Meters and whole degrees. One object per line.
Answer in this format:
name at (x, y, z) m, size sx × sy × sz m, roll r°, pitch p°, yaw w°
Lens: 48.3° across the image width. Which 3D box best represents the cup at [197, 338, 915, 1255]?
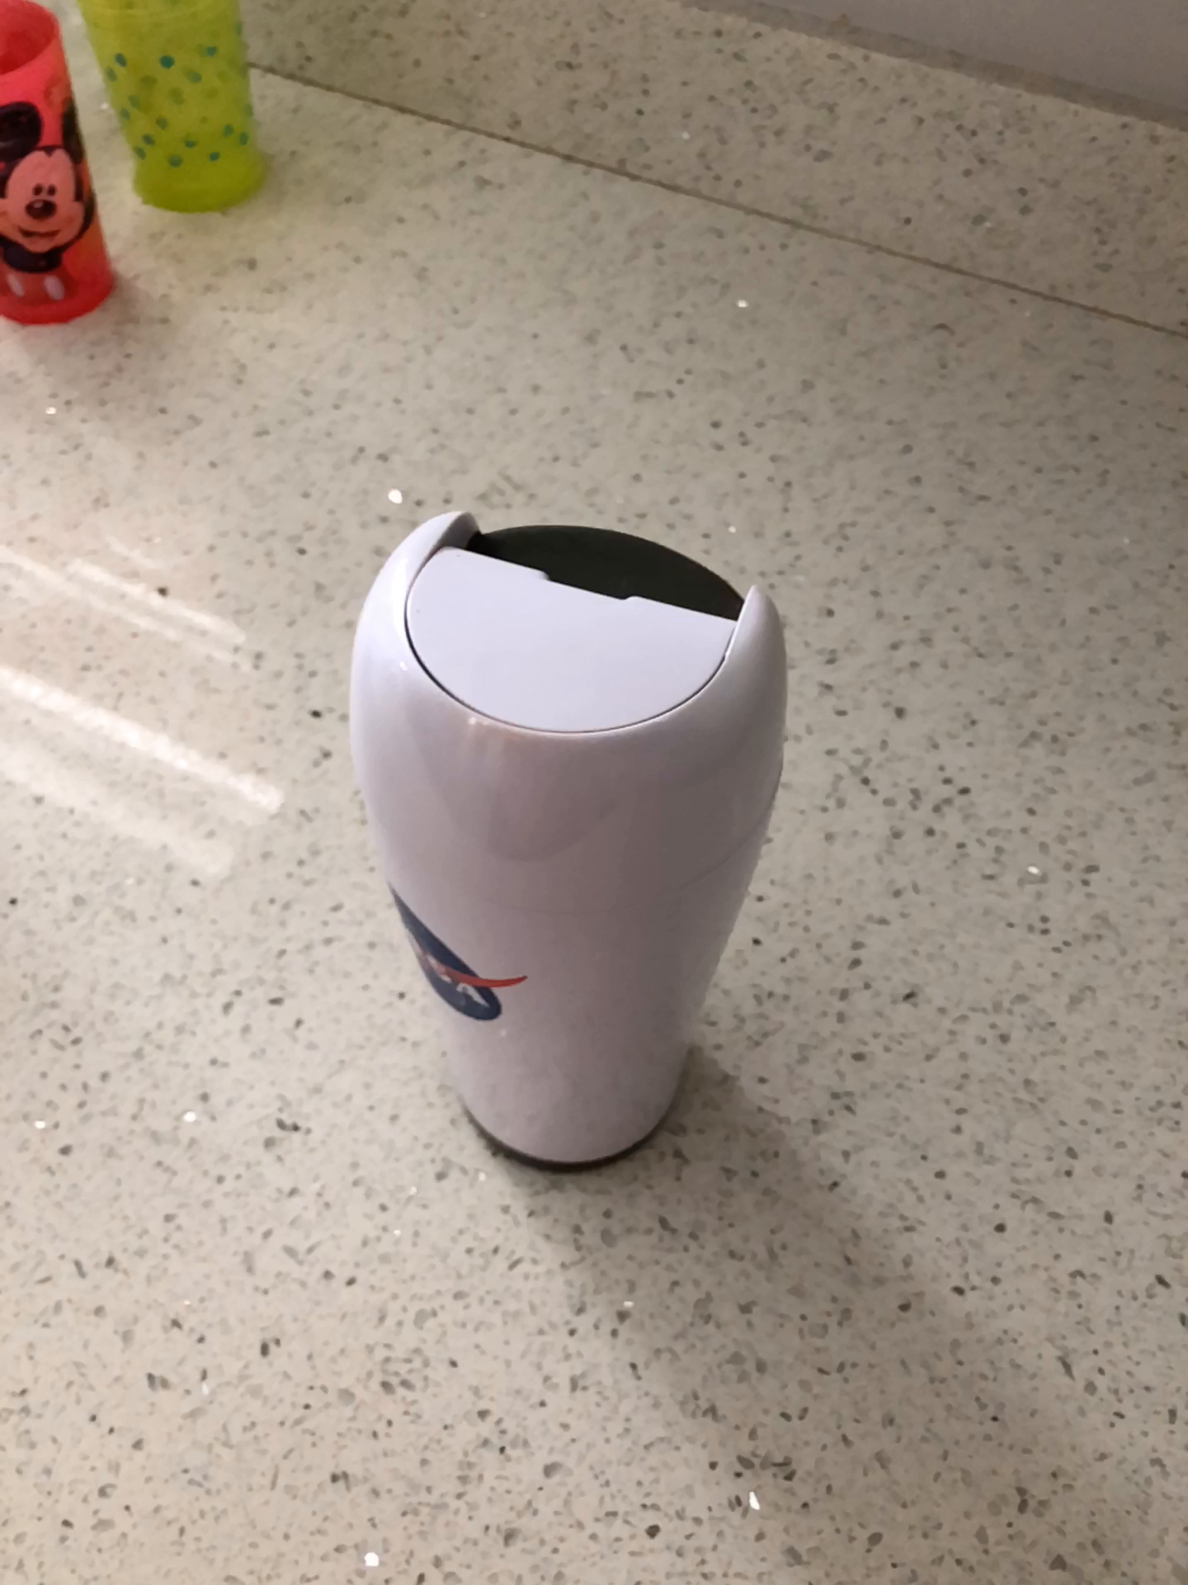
cup at (-0.008, 0.016, 0.280) m, size 0.080 × 0.182 × 0.078 m, roll 0°, pitch 56°, yaw -1°
